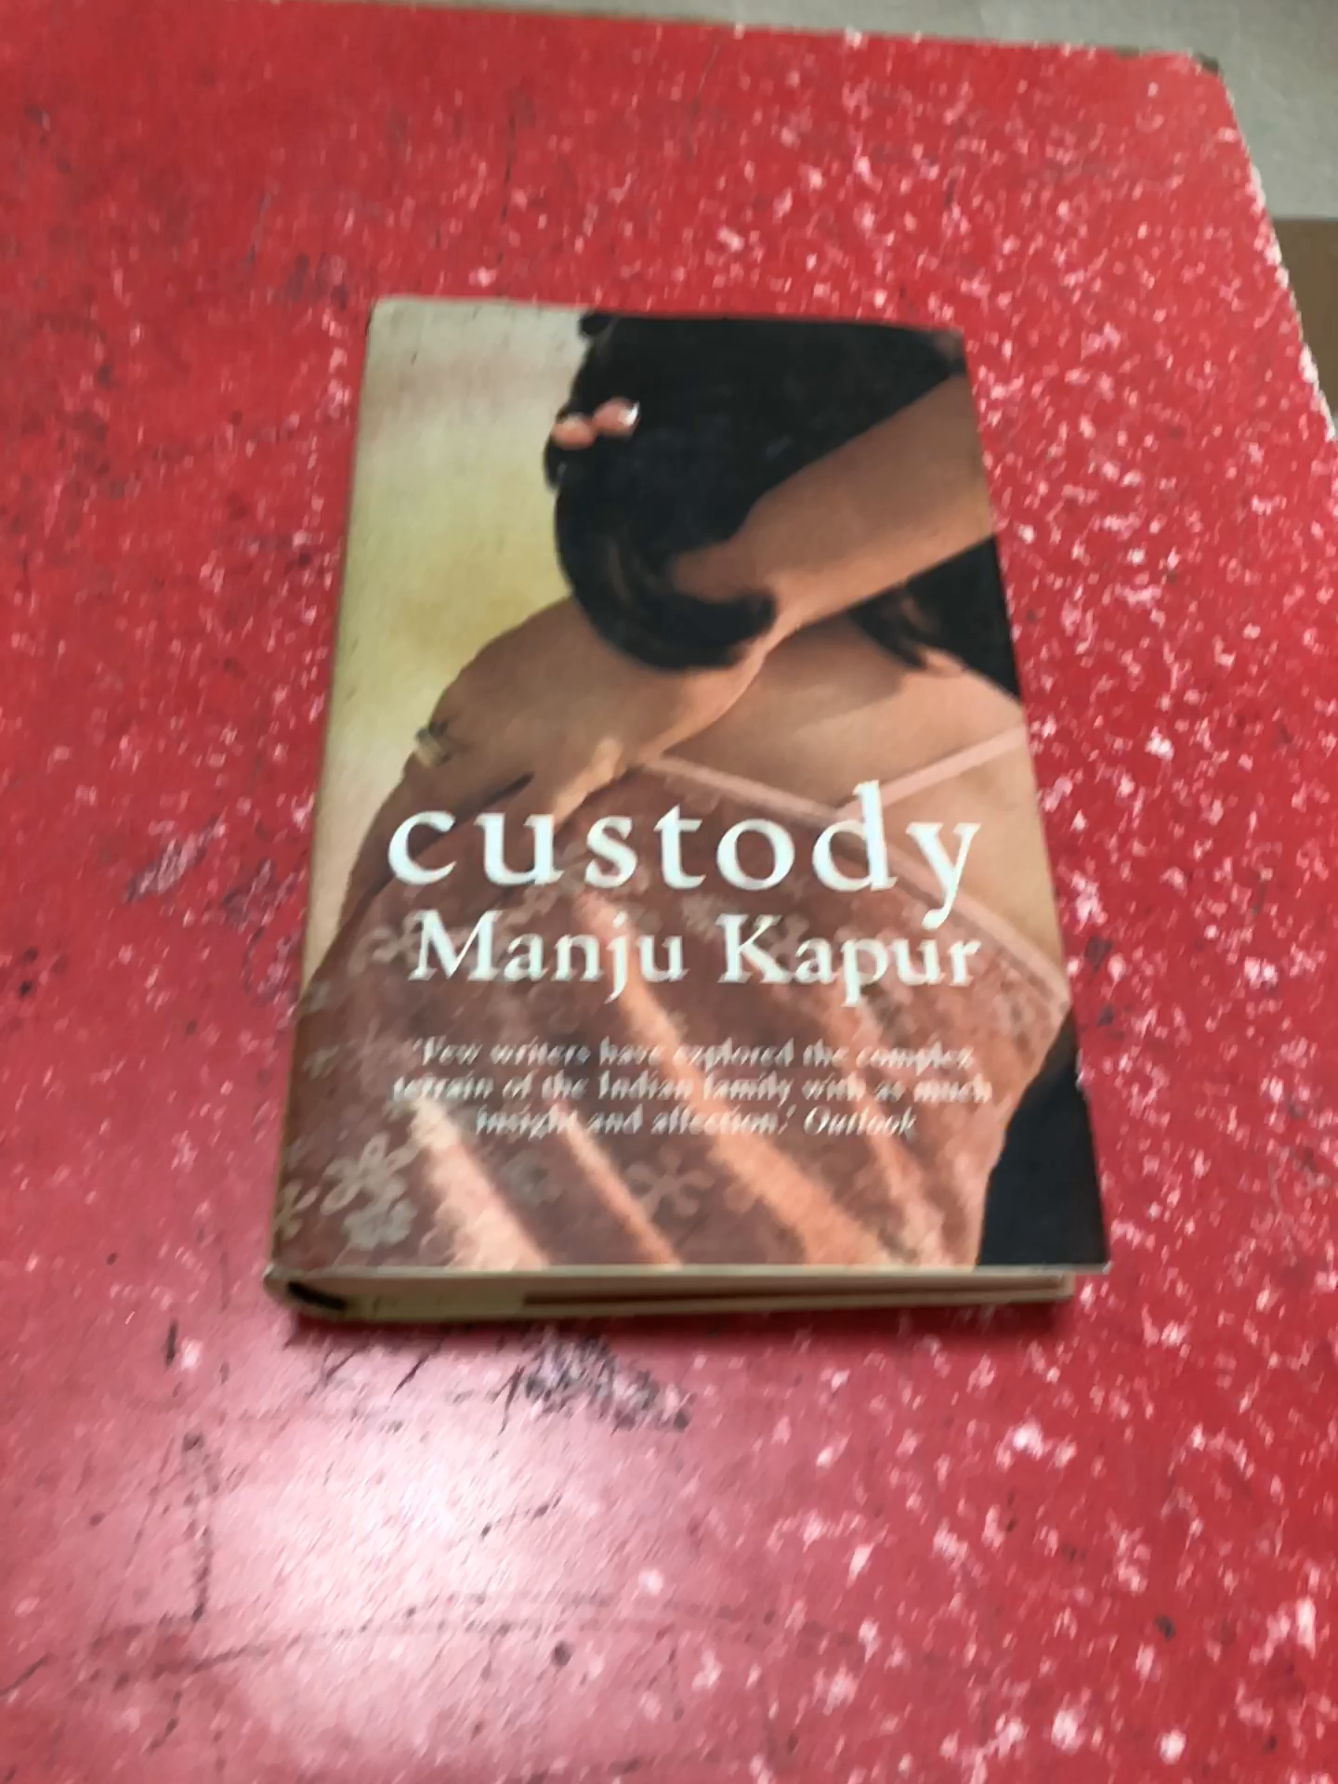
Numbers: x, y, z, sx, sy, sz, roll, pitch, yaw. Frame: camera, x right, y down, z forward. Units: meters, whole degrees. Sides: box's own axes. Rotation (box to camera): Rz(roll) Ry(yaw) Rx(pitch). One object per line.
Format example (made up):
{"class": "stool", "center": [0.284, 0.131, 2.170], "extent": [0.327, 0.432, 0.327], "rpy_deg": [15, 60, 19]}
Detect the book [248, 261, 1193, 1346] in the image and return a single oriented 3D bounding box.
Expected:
{"class": "book", "center": [0.004, -0.030, 0.291], "extent": [0.140, 0.040, 0.220], "rpy_deg": [0, 61, -5]}
